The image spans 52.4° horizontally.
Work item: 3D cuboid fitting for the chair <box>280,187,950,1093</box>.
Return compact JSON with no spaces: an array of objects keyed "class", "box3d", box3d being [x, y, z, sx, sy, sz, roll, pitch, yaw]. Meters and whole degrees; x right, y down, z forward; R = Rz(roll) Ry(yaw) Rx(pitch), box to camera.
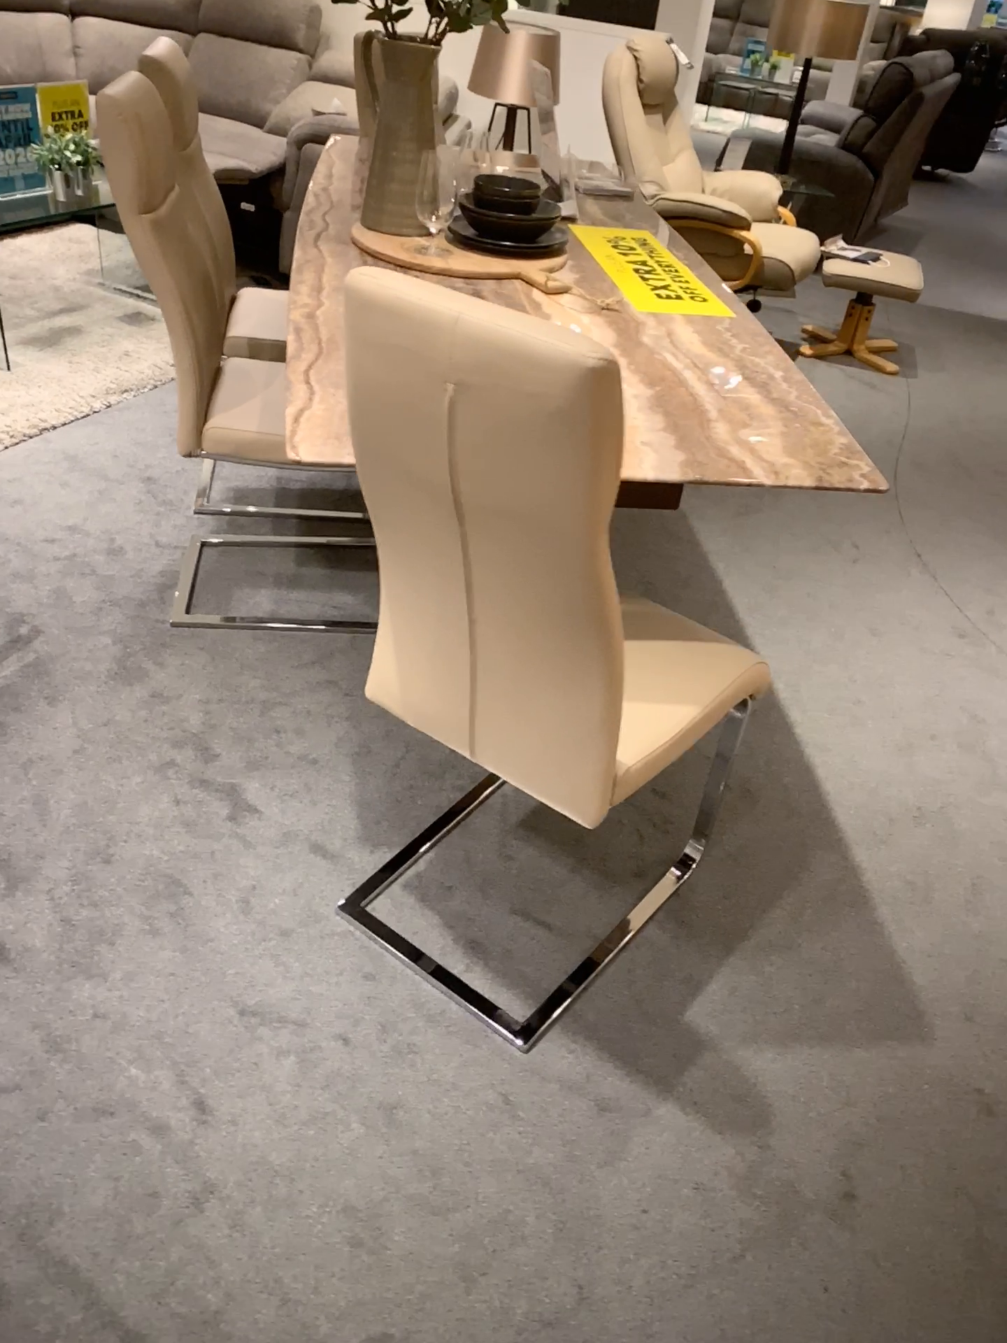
[{"class":"chair","box3d":[0.099,-0.062,1.423,0.529,0.981,0.587,28,39,26]}]
